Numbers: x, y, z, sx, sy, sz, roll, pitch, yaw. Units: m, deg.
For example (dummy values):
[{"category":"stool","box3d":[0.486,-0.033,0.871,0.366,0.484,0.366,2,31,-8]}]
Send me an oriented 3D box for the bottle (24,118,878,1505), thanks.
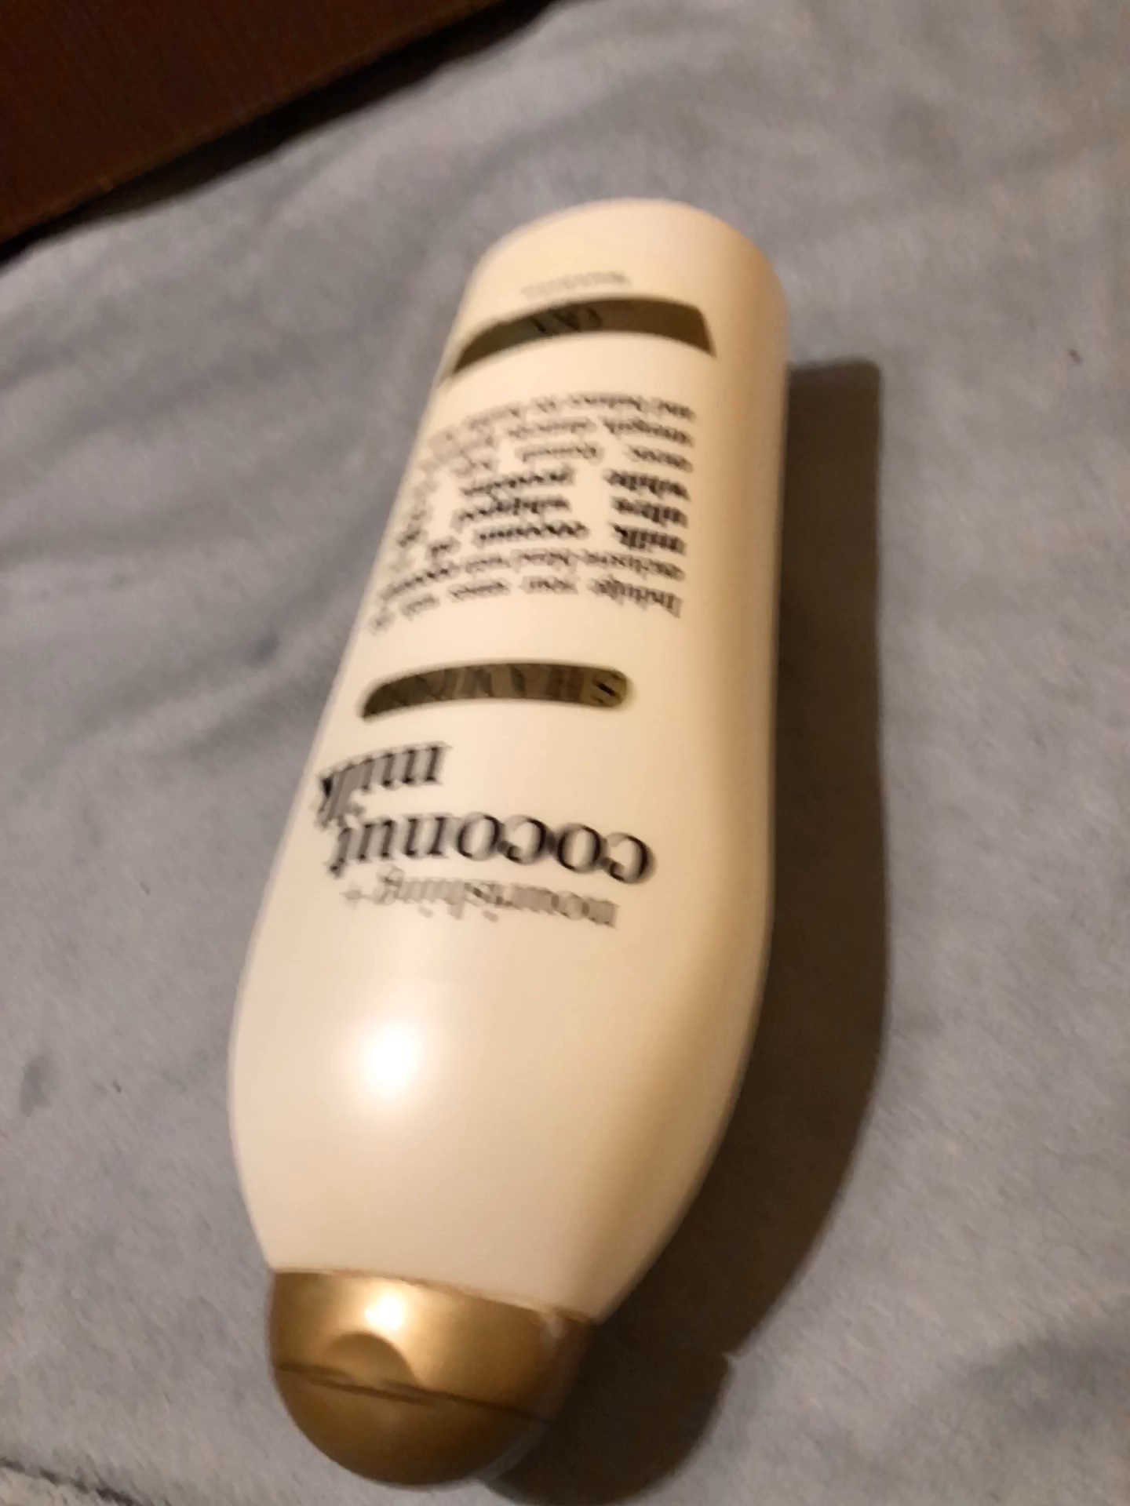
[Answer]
[{"category":"bottle","box3d":[-0.001,-0.008,0.205,0.080,0.040,0.220,-3,57,25]}]
